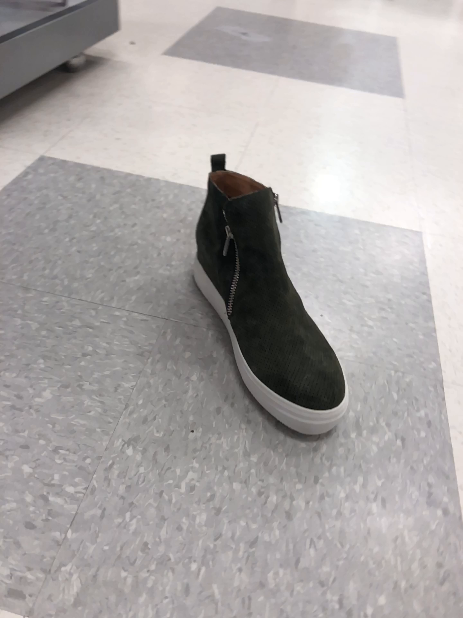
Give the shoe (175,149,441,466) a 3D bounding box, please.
[{"bbox_3d":[0.043,-0.023,0.508,0.109,0.141,0.293,-12,45,-21],"label":"shoe"}]
